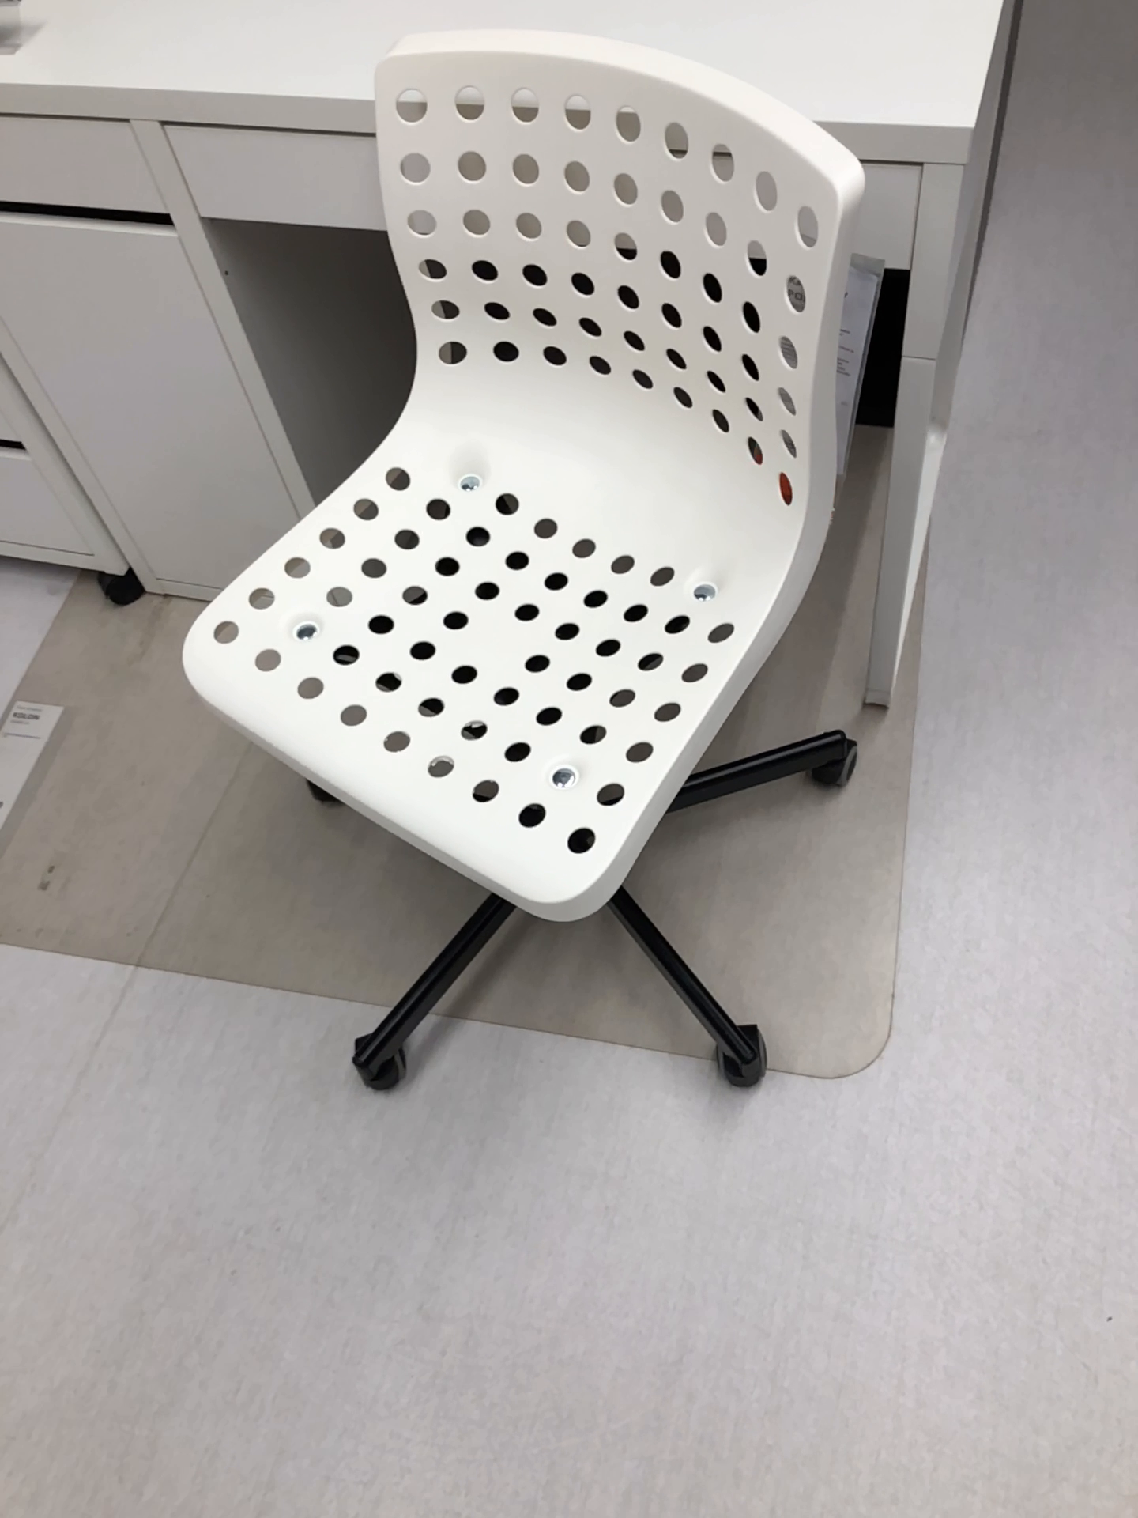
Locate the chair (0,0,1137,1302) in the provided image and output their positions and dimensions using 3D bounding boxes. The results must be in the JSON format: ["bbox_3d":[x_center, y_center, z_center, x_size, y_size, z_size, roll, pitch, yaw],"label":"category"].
[{"bbox_3d":[-0.066,-0.111,1.065,0.672,0.746,0.651,30,64,25],"label":"chair"}]
